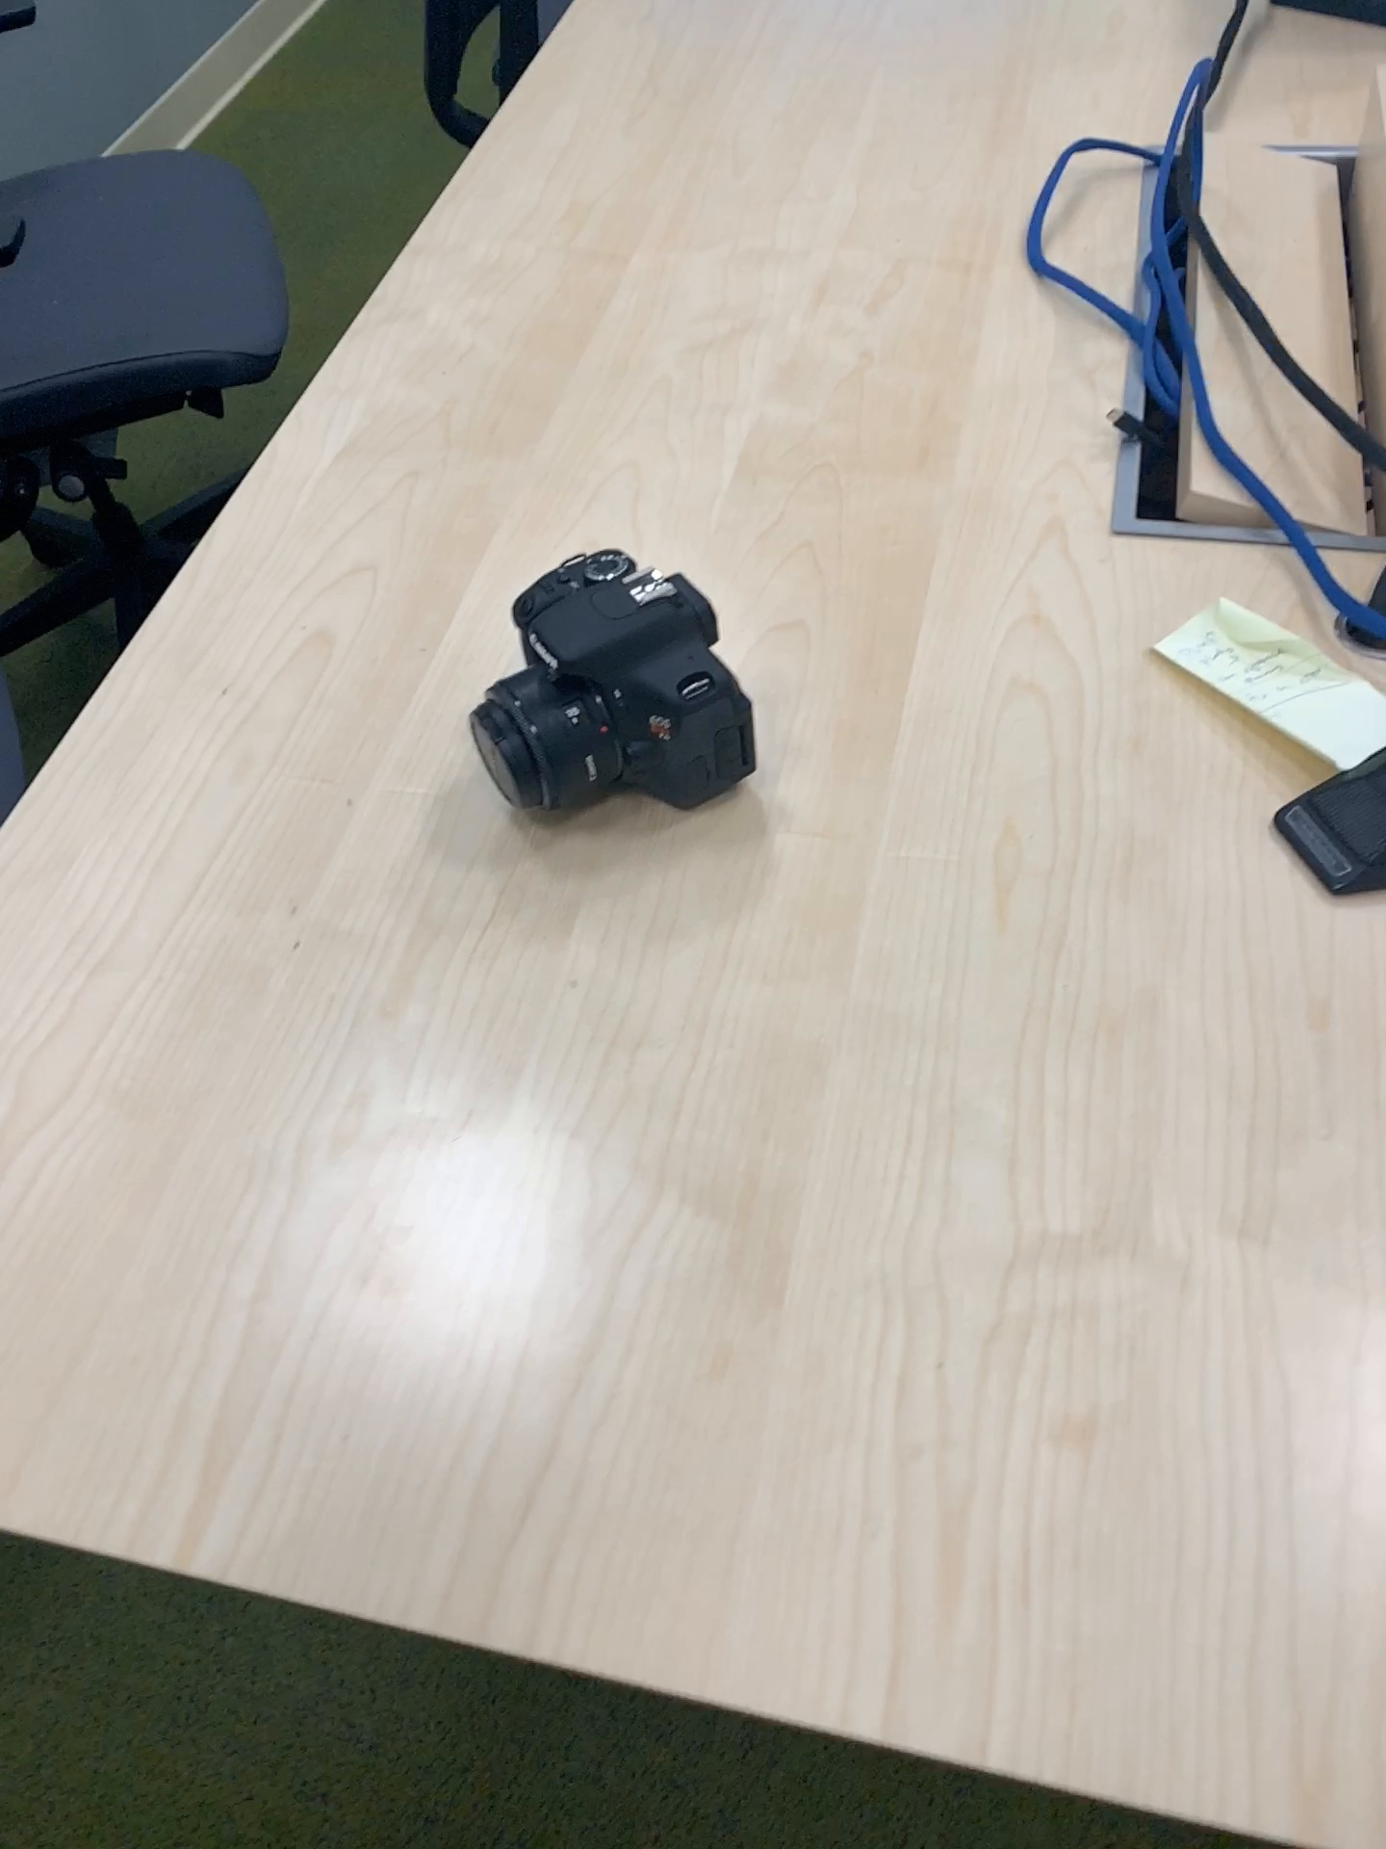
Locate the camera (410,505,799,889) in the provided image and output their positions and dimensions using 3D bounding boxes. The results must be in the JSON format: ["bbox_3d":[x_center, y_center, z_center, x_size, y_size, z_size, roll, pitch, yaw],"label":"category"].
[{"bbox_3d":[-0.042,-0.117,0.706,0.131,0.080,0.141,-29,54,-17],"label":"camera"}]
